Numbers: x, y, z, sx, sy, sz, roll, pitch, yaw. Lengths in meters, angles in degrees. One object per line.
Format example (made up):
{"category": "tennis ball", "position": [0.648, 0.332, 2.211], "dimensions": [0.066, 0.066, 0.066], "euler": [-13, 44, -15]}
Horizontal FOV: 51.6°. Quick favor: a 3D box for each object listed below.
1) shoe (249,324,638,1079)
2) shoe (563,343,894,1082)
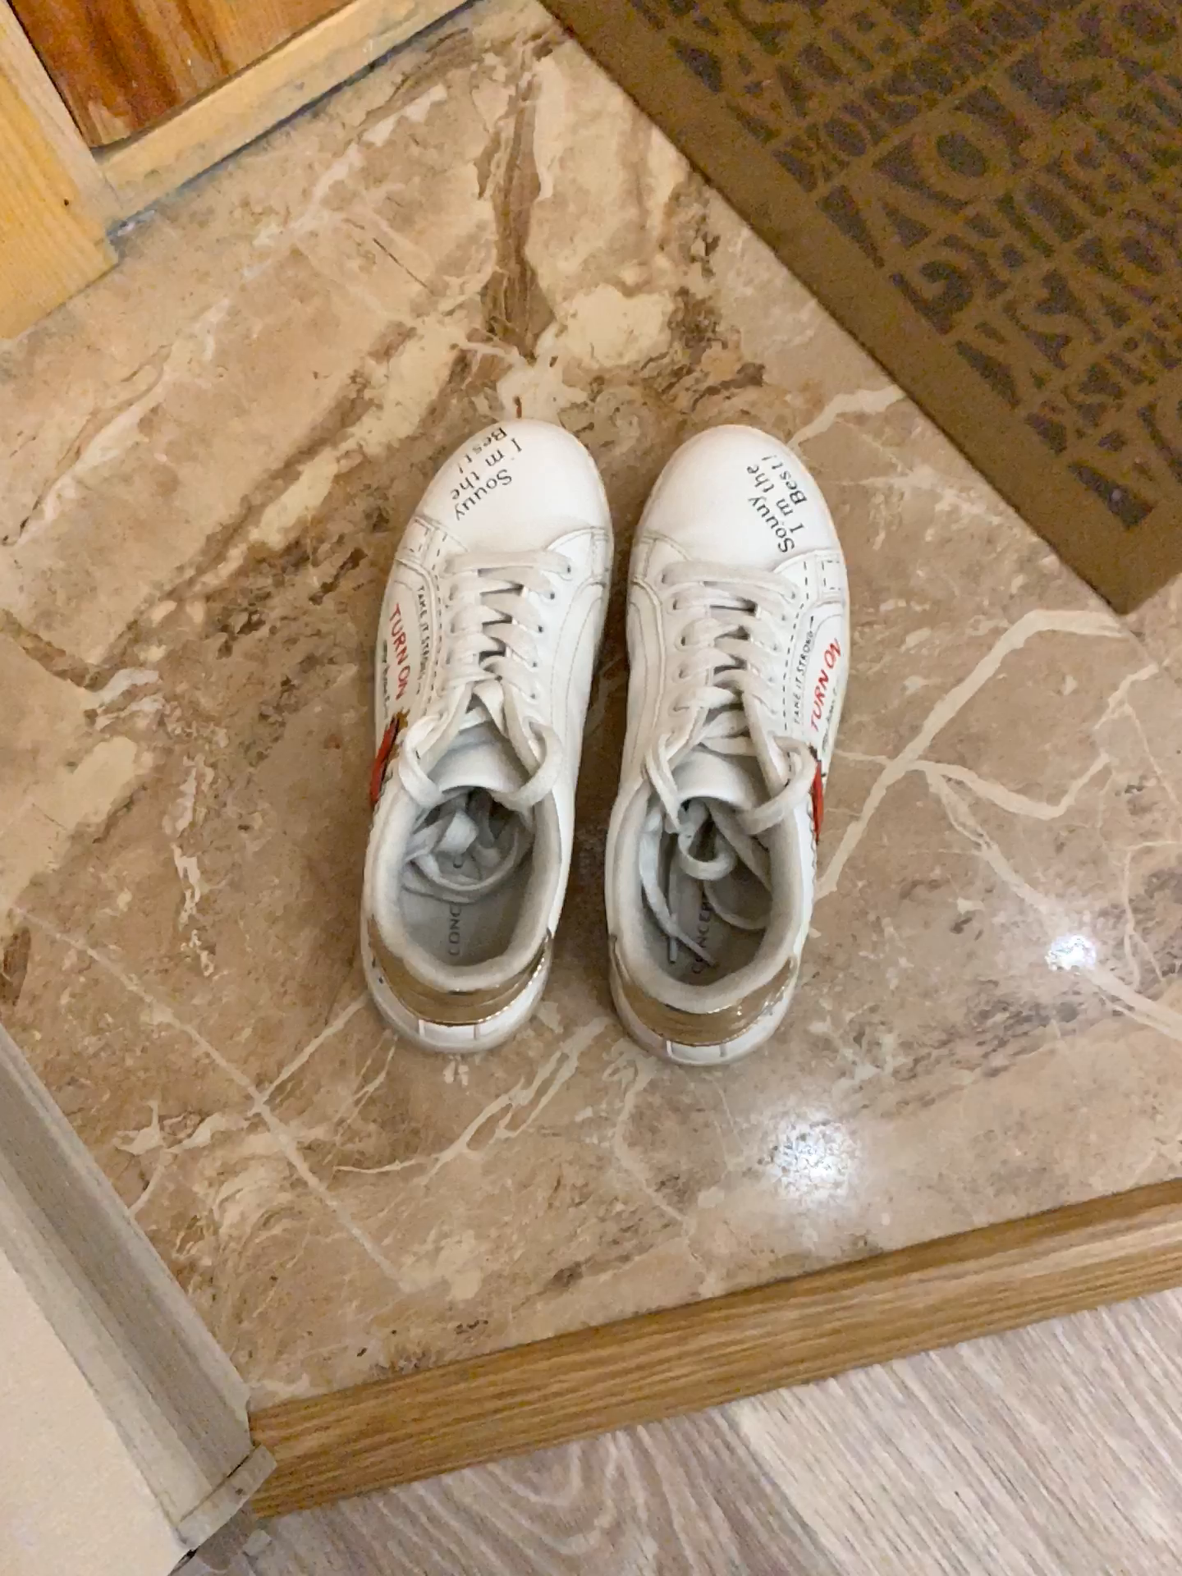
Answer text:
{"category": "shoe", "position": [-0.045, -0.030, 0.452], "dimensions": [0.092, 0.080, 0.256], "euler": [7, 77, 2]}
{"category": "shoe", "position": [0.051, -0.026, 0.460], "dimensions": [0.092, 0.080, 0.256], "euler": [6, 77, 2]}
